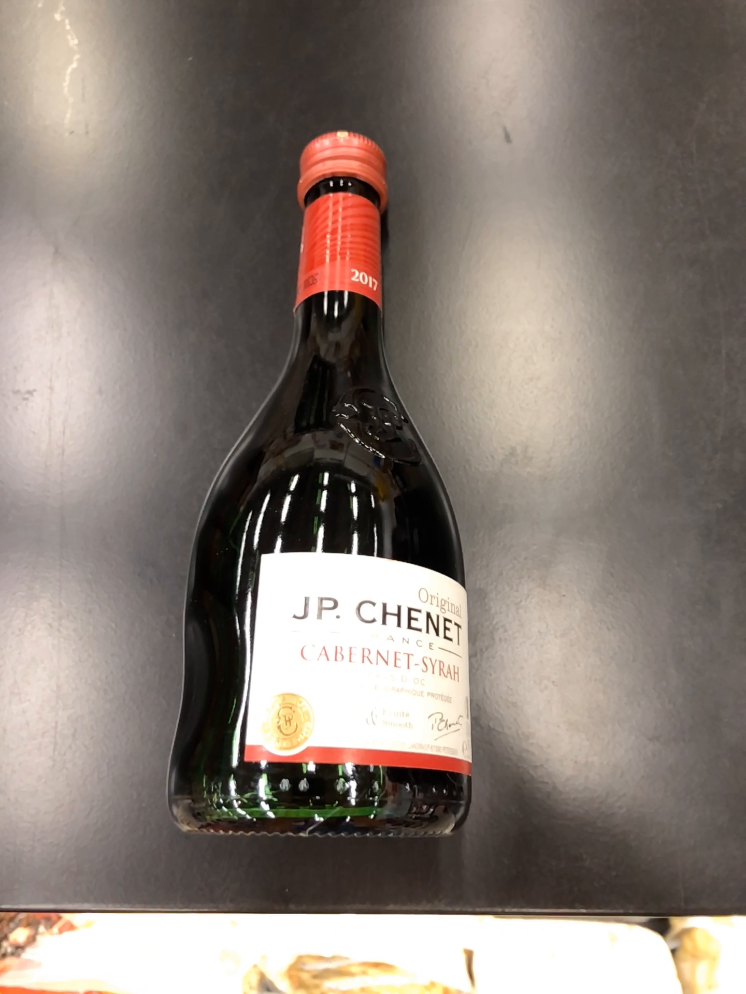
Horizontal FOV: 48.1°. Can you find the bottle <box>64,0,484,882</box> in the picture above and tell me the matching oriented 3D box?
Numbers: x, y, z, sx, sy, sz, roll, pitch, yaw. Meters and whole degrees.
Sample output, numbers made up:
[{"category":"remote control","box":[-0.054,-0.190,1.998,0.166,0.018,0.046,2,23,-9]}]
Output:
[{"category":"bottle","box":[-0.013,-0.025,0.195,0.070,0.060,0.200,-2,73,7]}]
